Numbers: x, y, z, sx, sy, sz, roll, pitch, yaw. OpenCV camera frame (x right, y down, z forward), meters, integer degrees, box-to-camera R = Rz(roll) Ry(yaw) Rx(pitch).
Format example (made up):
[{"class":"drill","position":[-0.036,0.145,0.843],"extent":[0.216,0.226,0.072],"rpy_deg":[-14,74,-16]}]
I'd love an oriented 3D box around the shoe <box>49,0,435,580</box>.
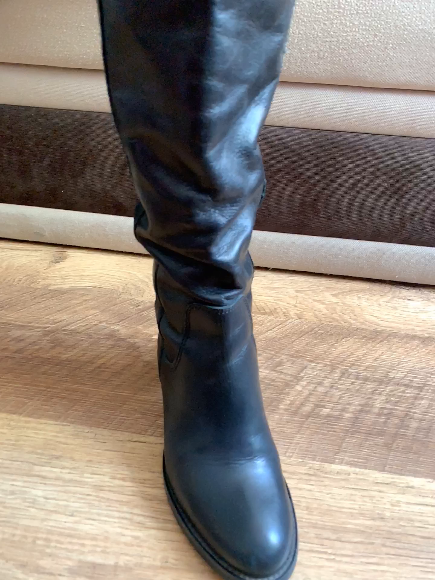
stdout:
[{"class":"shoe","position":[0.016,-0.082,0.208],"extent":[0.100,0.497,0.211],"rpy_deg":[-7,35,-15]}]
